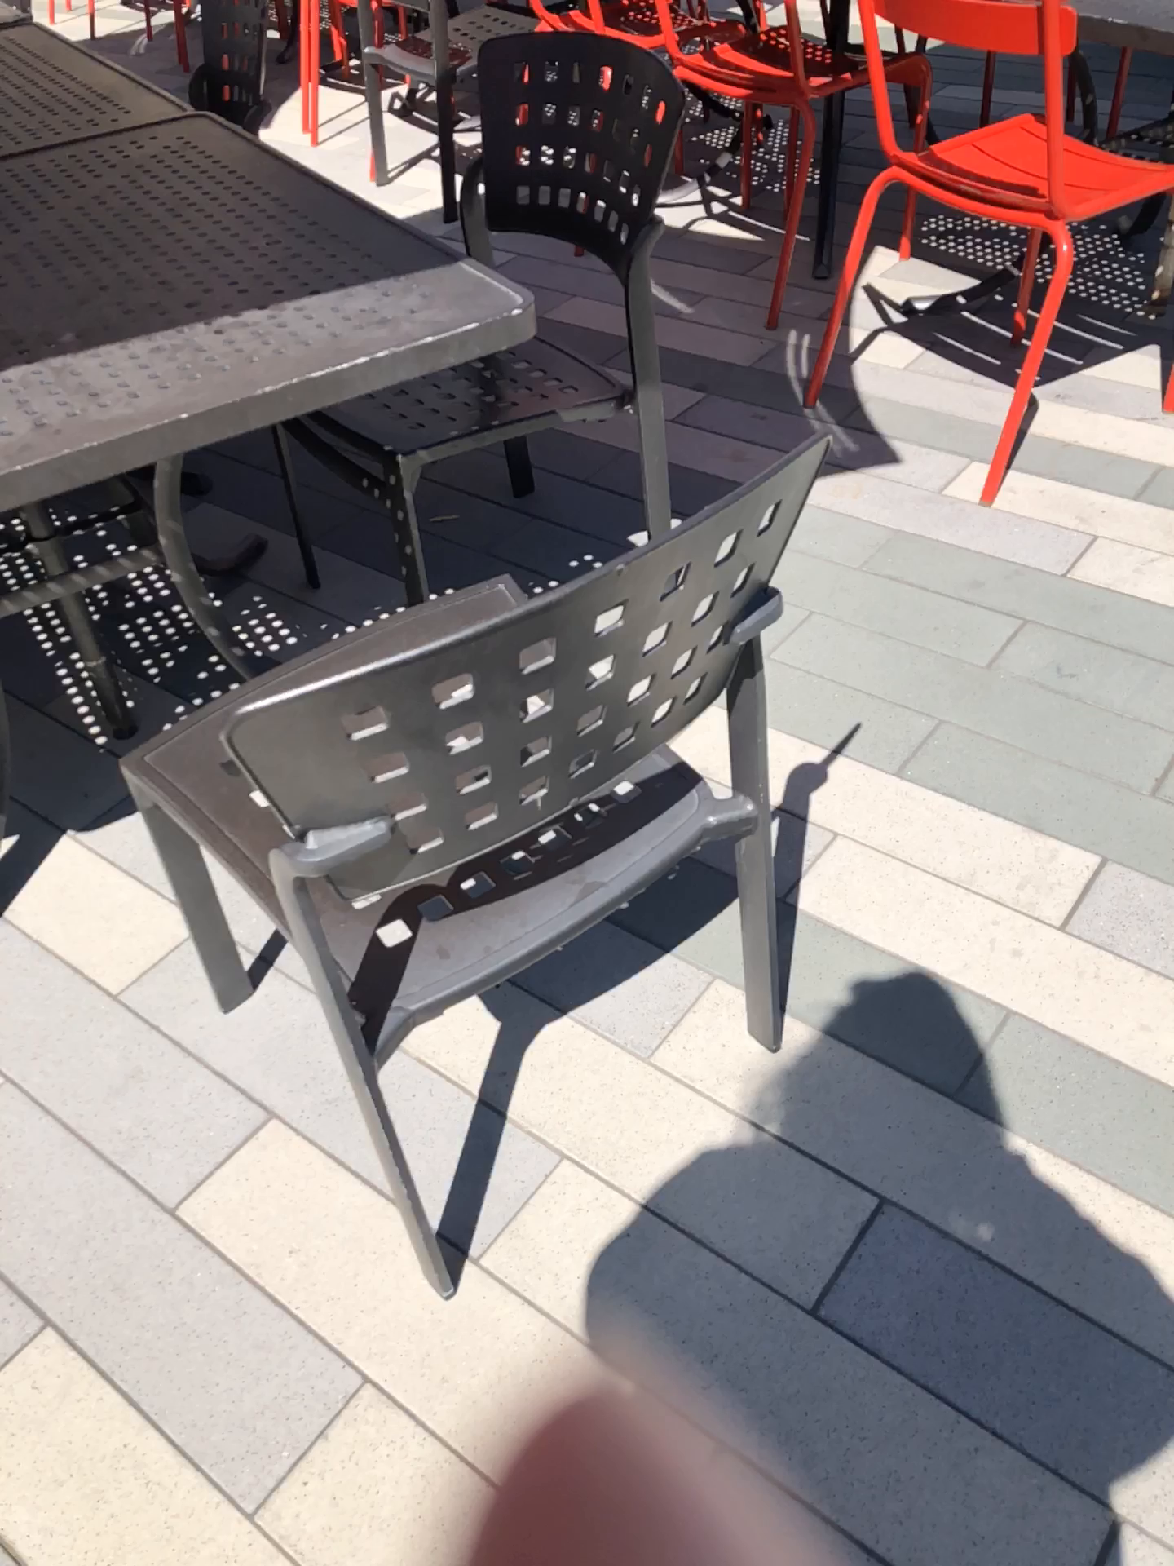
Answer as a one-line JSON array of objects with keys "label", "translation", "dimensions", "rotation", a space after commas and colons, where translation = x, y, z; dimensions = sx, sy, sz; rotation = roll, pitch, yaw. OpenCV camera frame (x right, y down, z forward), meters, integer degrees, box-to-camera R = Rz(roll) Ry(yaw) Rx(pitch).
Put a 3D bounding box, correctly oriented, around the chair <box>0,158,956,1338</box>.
[{"label": "chair", "translation": [-0.117, -0.032, 1.159], "dimensions": [0.521, 0.756, 0.532], "rotation": [-31, 52, -27]}]
